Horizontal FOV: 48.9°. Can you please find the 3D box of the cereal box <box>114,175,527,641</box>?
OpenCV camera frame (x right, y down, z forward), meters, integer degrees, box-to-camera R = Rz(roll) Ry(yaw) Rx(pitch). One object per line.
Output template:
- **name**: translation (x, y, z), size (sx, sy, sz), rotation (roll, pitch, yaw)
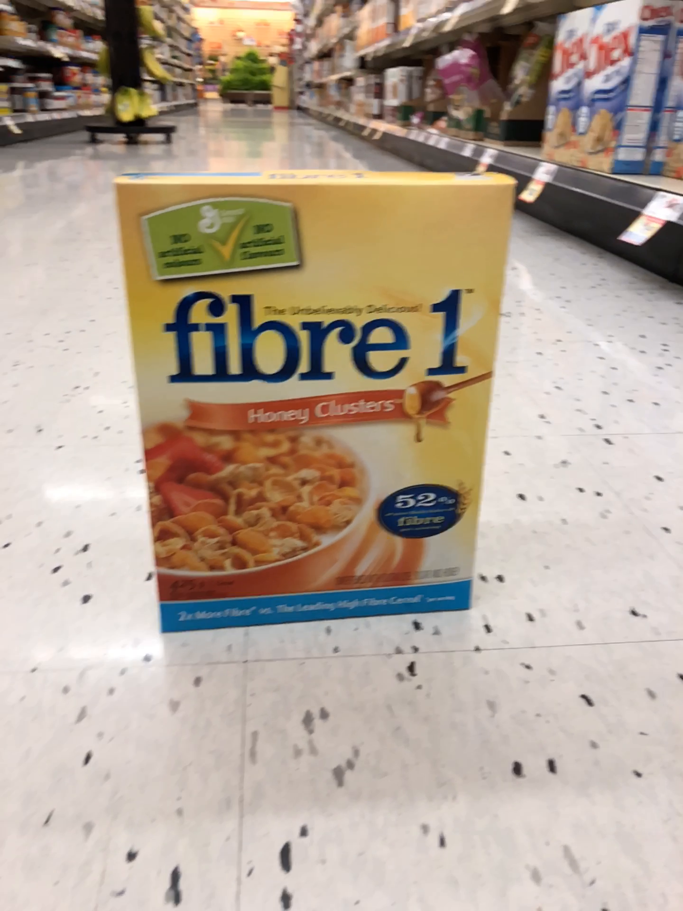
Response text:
- **cereal box**: translation (-0.012, -0.021, 0.418), size (0.190, 0.249, 0.050), rotation (-2, 25, -8)
